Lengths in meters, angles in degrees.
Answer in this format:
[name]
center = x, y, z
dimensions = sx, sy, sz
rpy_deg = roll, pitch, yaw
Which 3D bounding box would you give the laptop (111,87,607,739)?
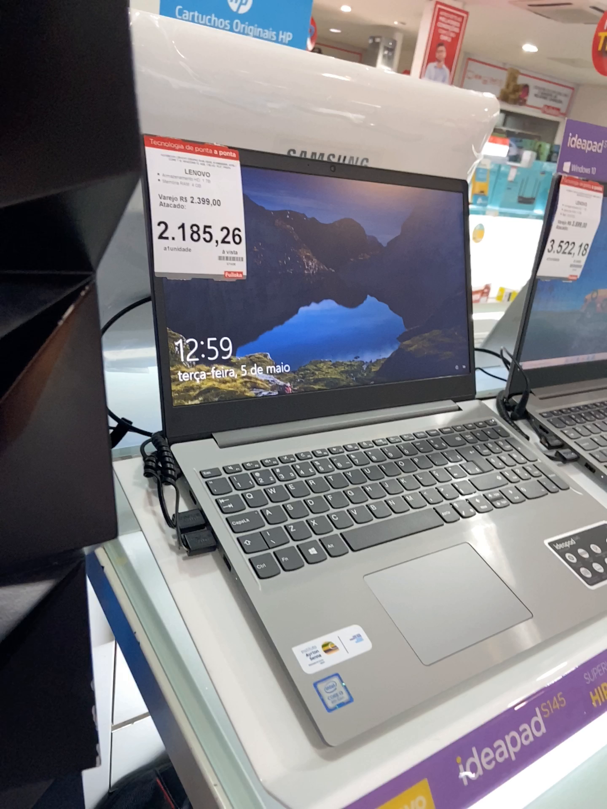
[laptop]
center = 0.083, -0.055, 0.503
dimensions = 0.359, 0.212, 0.389
rpy_deg = -6, 37, -33
